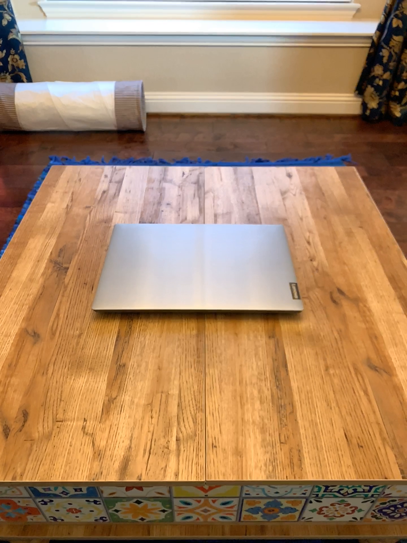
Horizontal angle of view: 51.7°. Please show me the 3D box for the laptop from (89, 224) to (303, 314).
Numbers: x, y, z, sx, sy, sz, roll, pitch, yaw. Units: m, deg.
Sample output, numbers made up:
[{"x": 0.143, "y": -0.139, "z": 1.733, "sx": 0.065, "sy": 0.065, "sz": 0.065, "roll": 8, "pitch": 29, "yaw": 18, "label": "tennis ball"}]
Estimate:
[{"x": -0.013, "y": -0.014, "z": 0.776, "sx": 0.347, "sy": 0.011, "sz": 0.238, "roll": -1, "pitch": 40, "yaw": 1, "label": "laptop"}]
